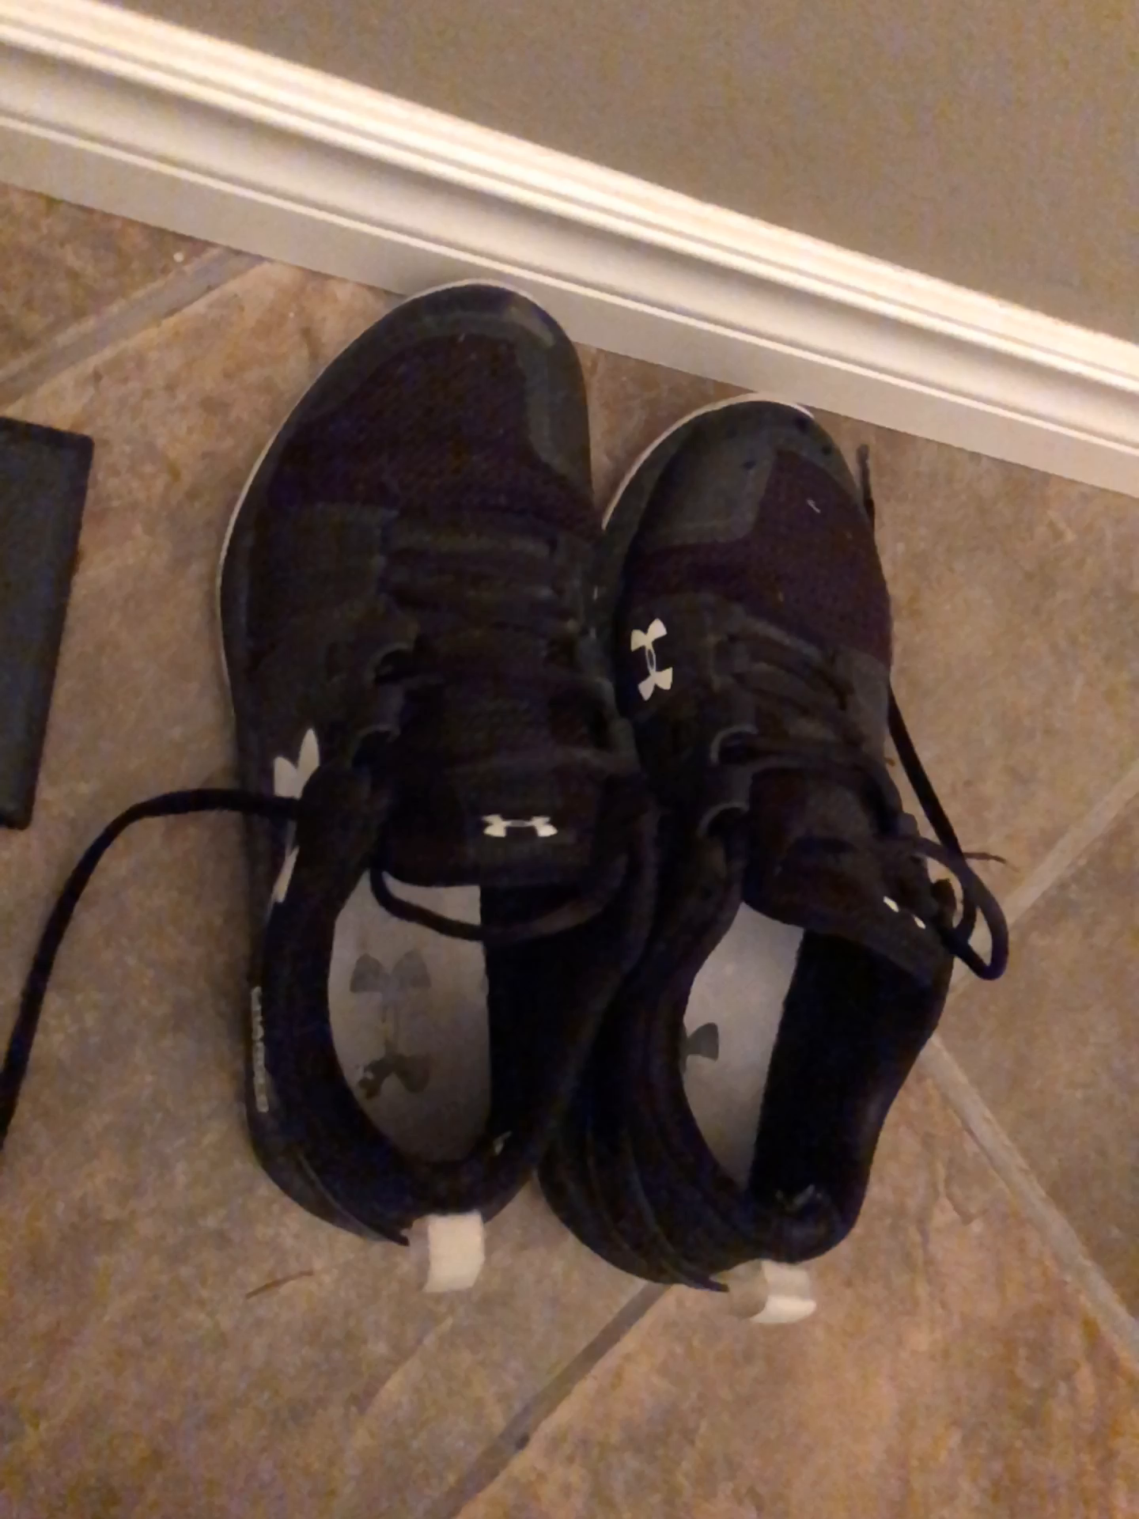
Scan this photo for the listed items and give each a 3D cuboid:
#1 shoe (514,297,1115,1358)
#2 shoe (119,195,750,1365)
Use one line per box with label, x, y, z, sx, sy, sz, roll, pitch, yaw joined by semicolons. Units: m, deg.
shoe;0.068;0.021;0.358;0.110;0.100;0.250;10;82;-20
shoe;-0.038;0.009;0.329;0.110;0.100;0.250;10;82;-20
